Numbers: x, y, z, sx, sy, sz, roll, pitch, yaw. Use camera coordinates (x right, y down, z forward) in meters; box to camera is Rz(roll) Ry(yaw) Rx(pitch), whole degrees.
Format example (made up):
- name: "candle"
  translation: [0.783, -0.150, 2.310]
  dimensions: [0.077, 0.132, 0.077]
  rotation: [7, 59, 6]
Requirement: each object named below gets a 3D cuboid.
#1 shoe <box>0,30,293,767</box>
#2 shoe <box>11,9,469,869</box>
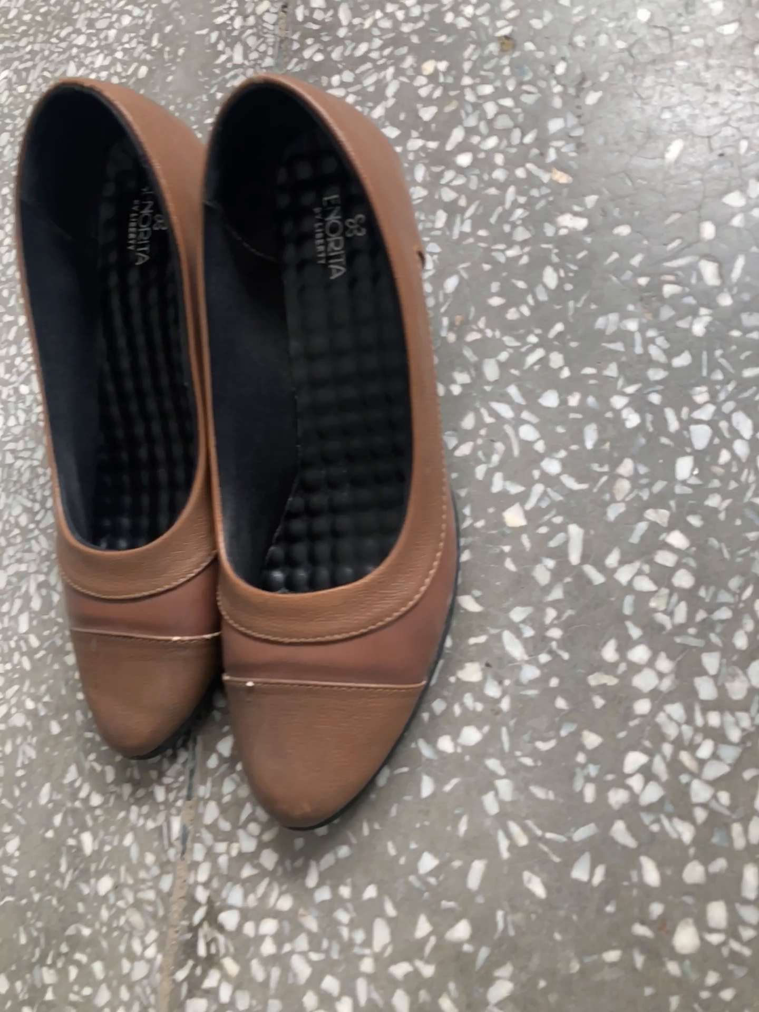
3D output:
- name: "shoe"
  translation: [-0.107, -0.033, 0.319]
  dimensions: [0.090, 0.096, 0.244]
  rotation: [-1, 74, 22]
- name: "shoe"
  translation: [-0.031, -0.019, 0.282]
  dimensions: [0.093, 0.096, 0.241]
  rotation: [-3, 74, 21]
